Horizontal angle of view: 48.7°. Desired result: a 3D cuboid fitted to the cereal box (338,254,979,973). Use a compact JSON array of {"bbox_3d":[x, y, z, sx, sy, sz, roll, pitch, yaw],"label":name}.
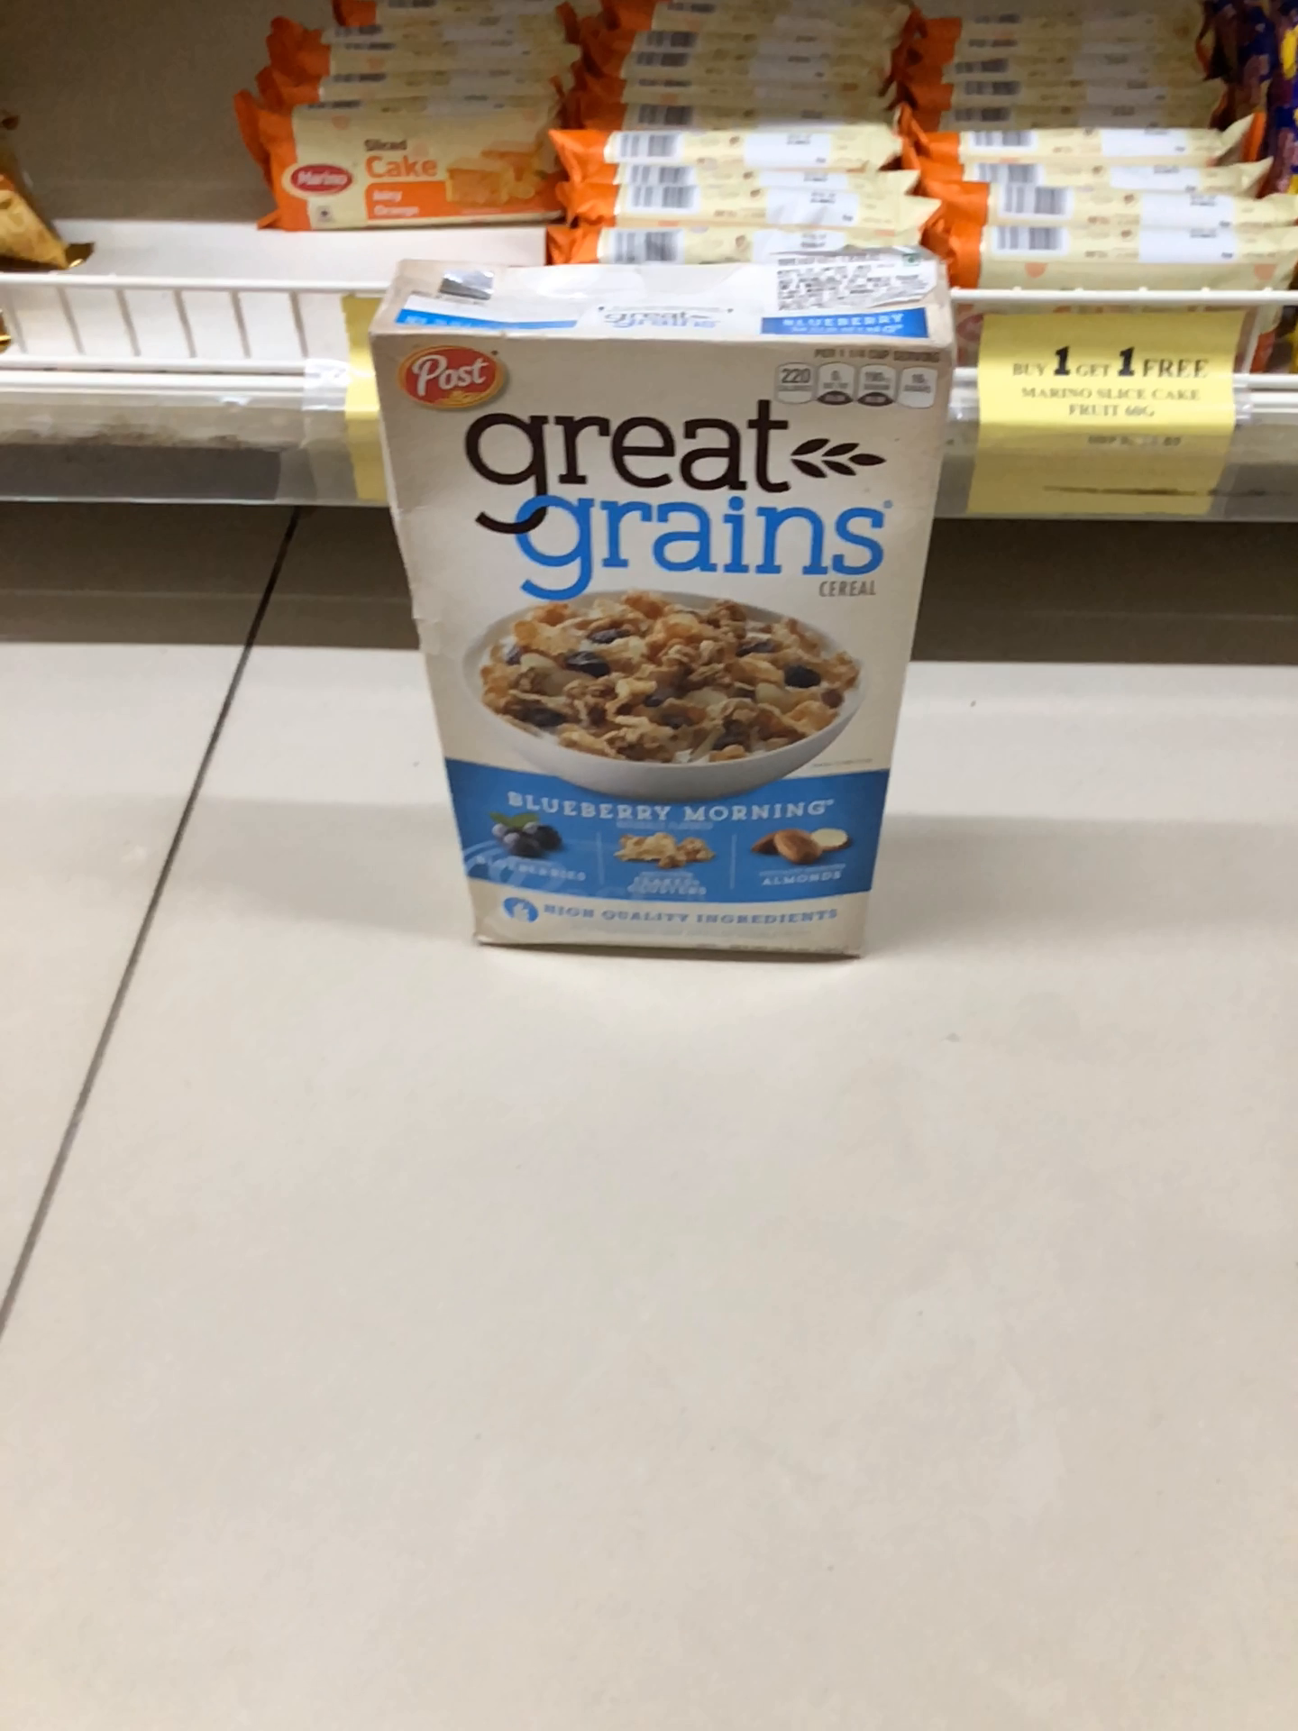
[{"bbox_3d":[0.005,-0.069,0.495,0.170,0.258,0.060,1,48,2],"label":"cereal box"}]
